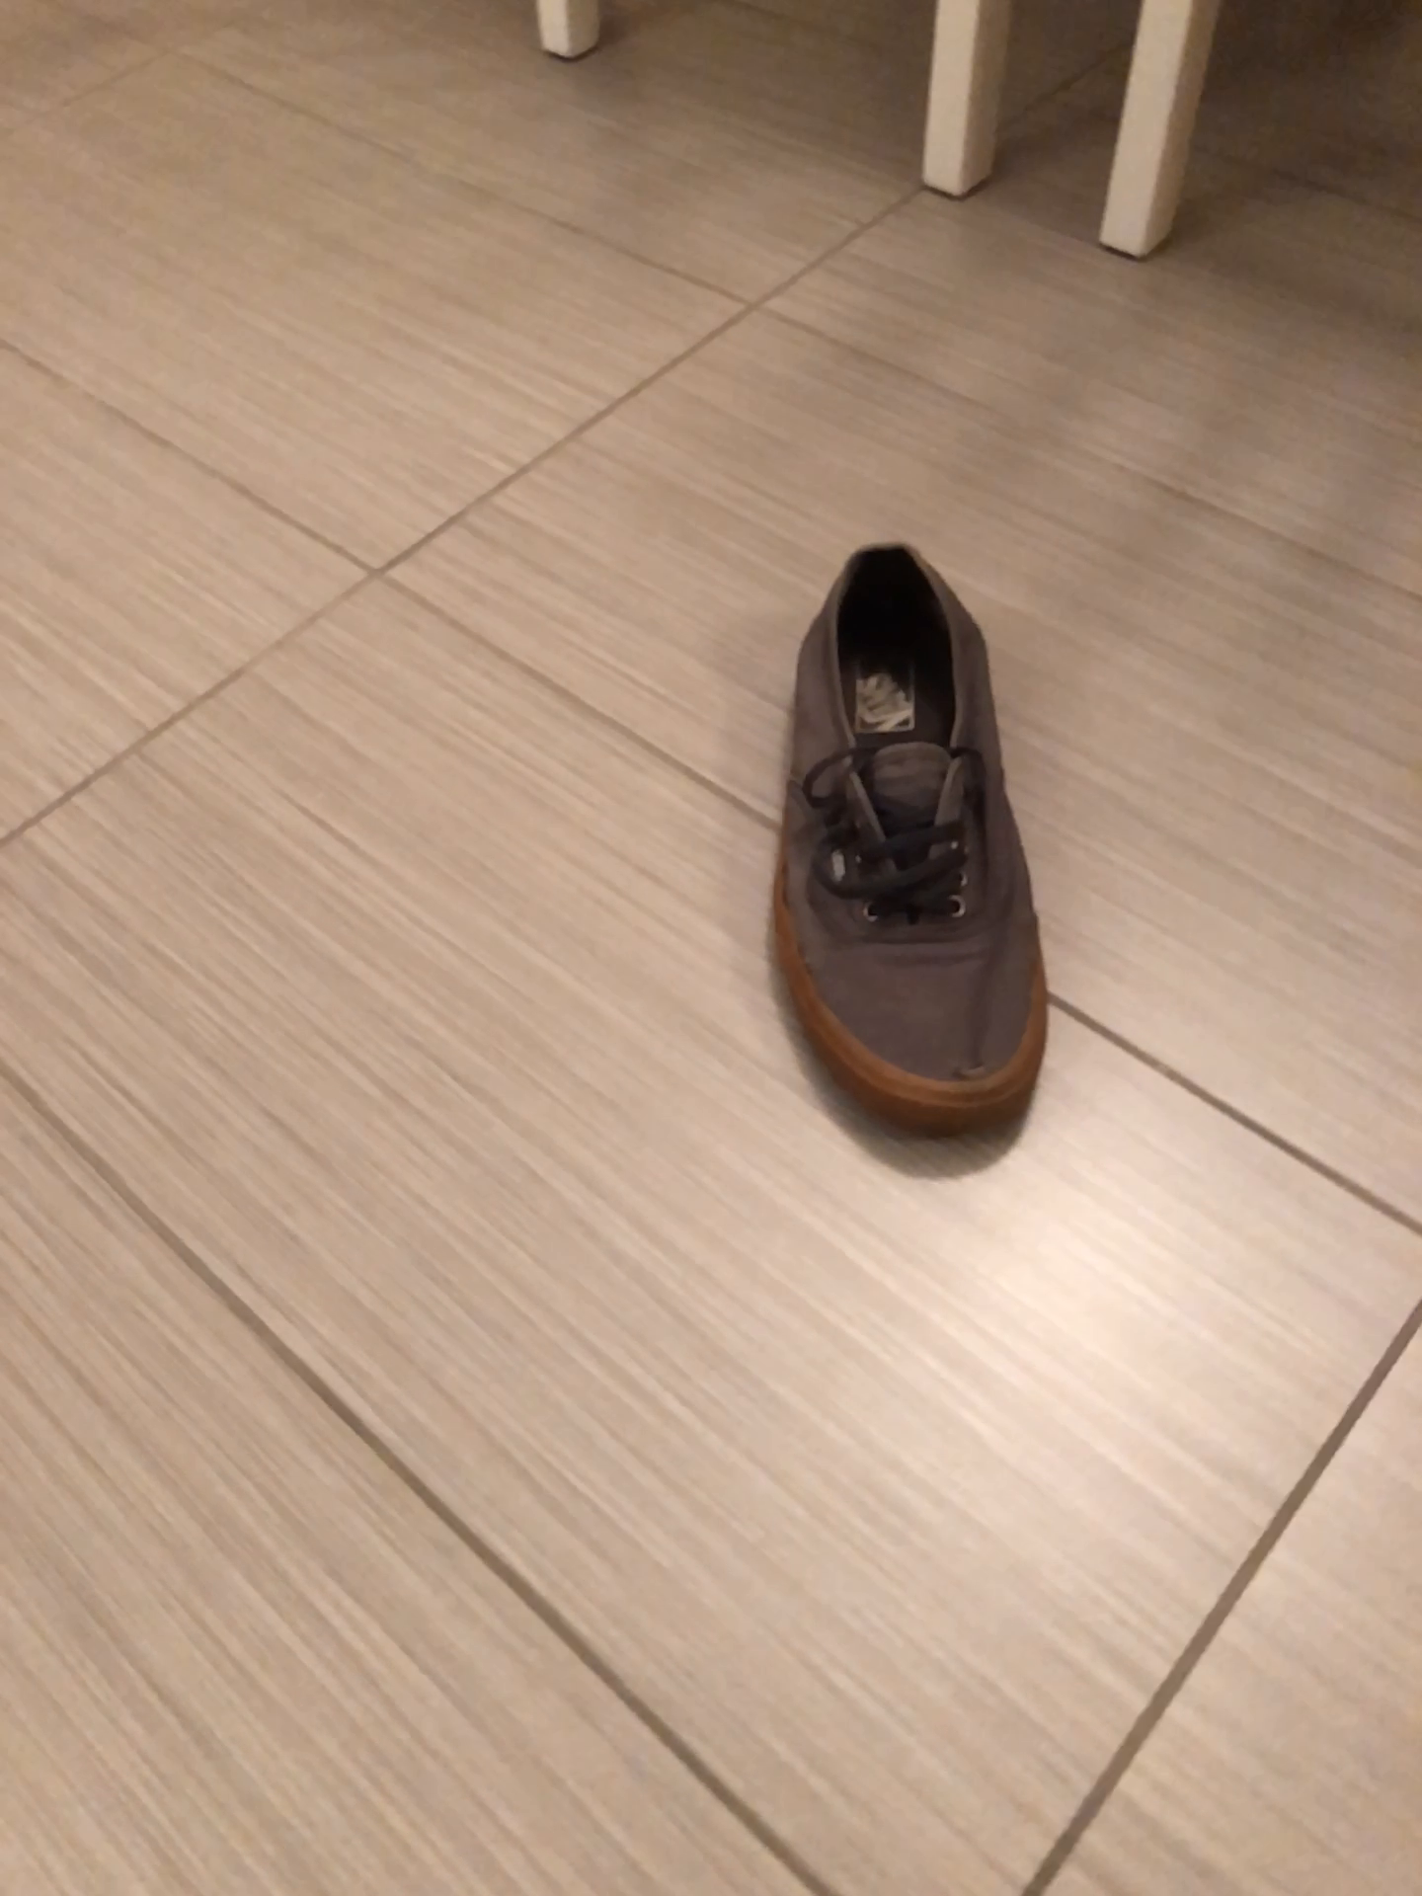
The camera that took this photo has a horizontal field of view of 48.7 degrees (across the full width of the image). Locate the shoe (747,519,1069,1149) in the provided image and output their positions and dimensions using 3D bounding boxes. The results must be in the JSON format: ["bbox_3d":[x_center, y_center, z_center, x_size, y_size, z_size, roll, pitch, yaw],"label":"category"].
[{"bbox_3d":[0.077,-0.059,0.653,0.110,0.060,0.291,-1,53,6],"label":"shoe"}]
